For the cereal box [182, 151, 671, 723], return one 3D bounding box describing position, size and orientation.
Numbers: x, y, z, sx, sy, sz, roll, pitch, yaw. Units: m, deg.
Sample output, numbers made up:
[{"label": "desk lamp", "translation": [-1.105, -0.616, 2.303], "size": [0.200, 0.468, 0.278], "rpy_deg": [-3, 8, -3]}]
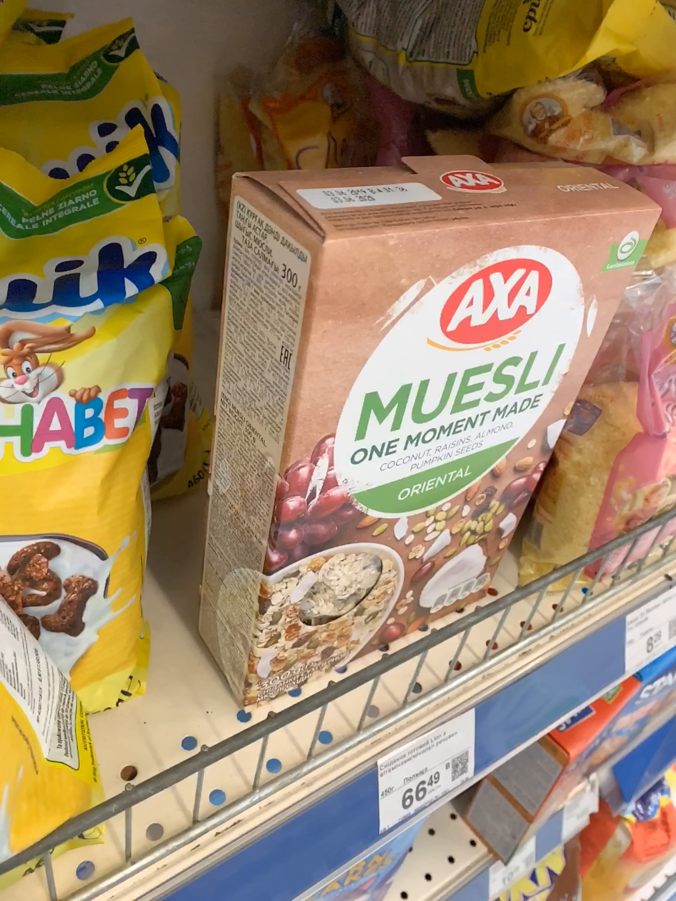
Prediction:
[{"label": "cereal box", "translation": [0.021, 0.000, 0.286], "size": [0.150, 0.218, 0.050], "rpy_deg": [-16, 46, -31]}]
